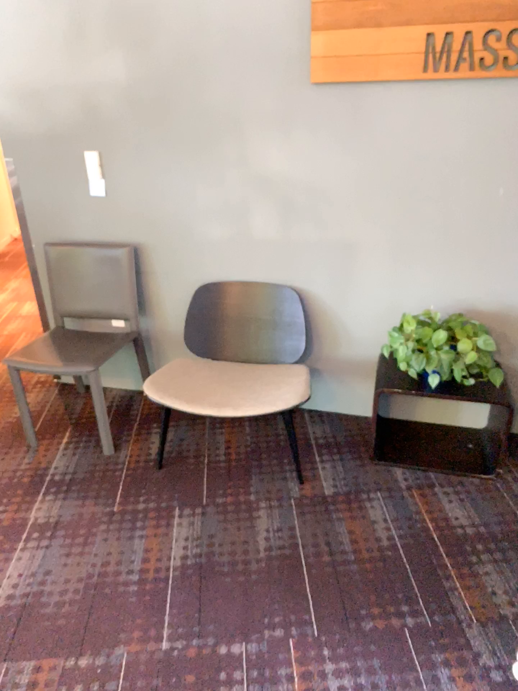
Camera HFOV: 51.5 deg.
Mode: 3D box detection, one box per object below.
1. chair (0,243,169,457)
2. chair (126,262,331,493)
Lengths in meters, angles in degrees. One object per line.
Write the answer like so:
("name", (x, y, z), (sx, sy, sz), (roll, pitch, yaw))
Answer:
("chair", (-0.927, -0.014, 2.746), (0.641, 0.835, 0.693), (3, 27, 11))
("chair", (-0.080, 0.112, 2.632), (0.791, 0.835, 0.714), (3, 27, 11))
